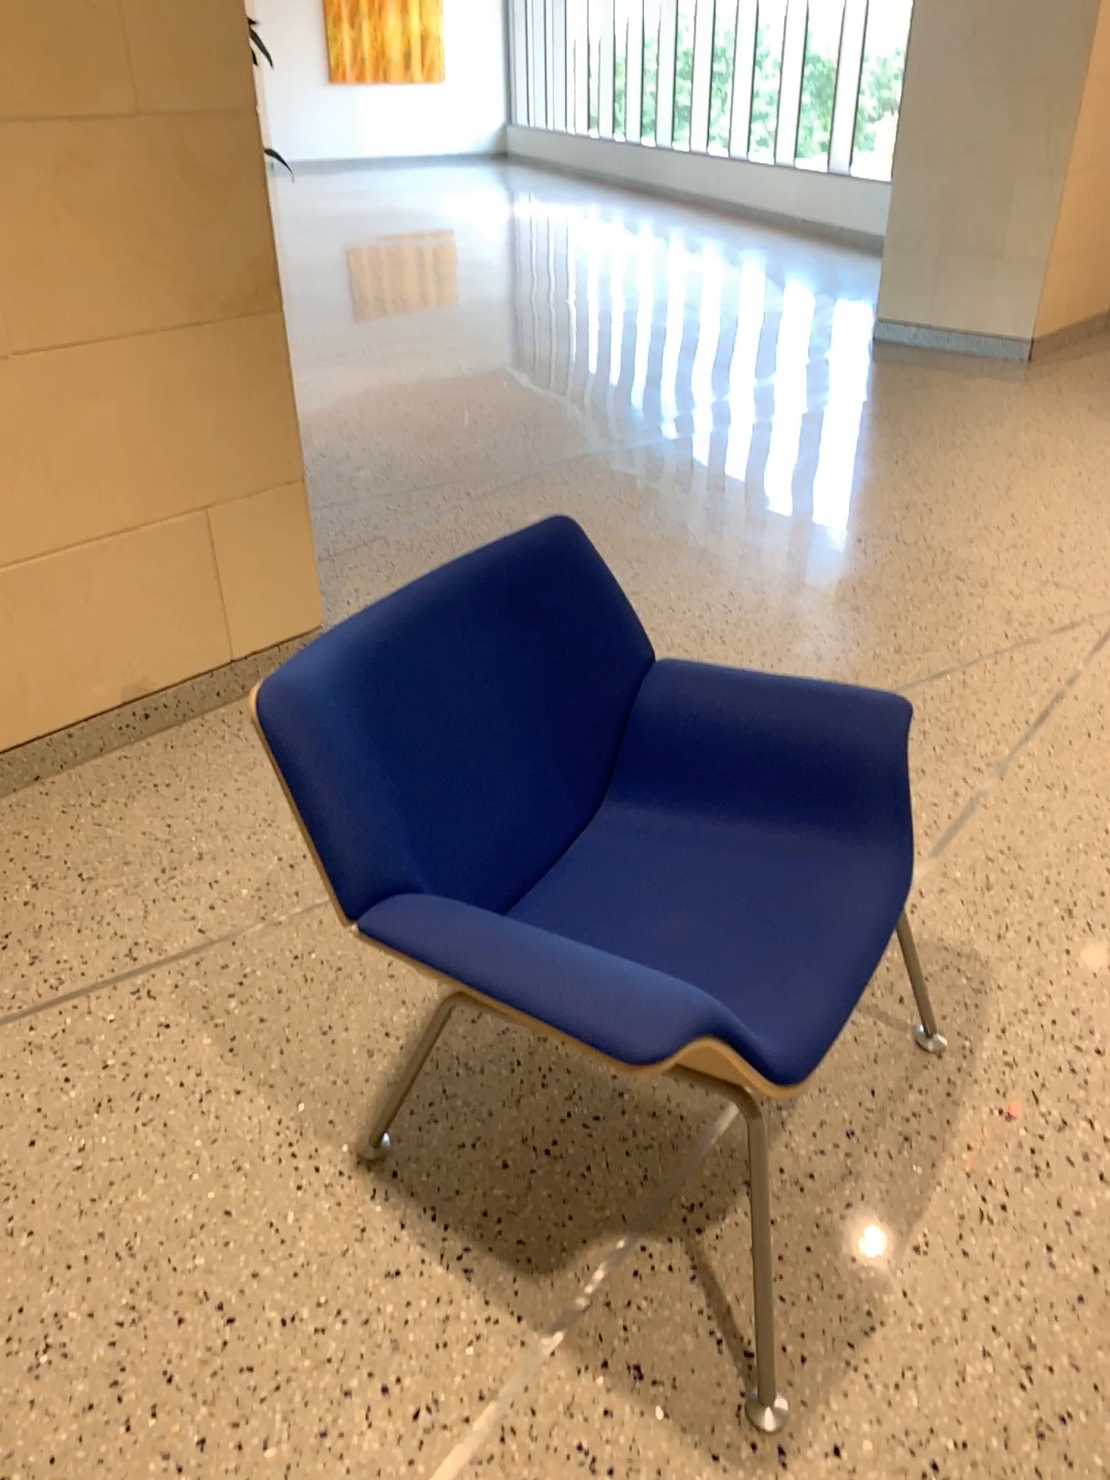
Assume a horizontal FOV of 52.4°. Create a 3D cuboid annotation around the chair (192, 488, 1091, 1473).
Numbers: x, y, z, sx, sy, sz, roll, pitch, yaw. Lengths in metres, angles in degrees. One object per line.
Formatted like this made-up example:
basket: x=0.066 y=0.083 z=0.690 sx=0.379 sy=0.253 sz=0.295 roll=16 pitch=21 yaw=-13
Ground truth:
chair: x=0.150 y=0.194 z=1.477 sx=0.759 sy=0.728 sz=0.783 roll=17 pitch=34 yaw=27
